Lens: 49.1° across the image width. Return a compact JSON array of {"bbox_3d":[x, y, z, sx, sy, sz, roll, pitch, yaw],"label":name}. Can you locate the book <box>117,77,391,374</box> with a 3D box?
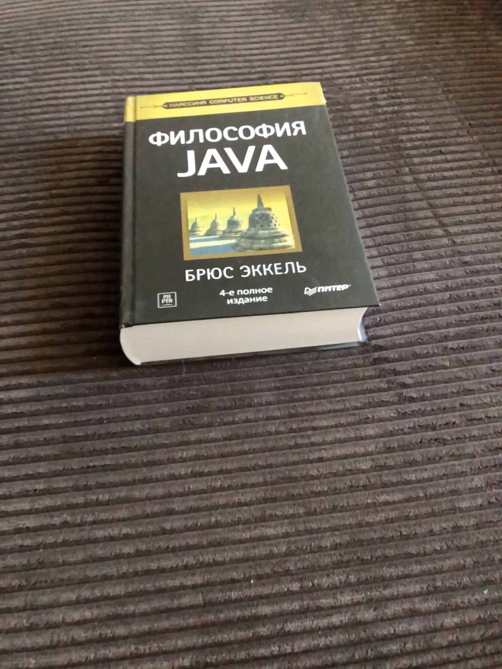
[{"bbox_3d":[-0.010,-0.097,0.429,0.171,0.060,0.240,-5,58,-4],"label":"book"}]
